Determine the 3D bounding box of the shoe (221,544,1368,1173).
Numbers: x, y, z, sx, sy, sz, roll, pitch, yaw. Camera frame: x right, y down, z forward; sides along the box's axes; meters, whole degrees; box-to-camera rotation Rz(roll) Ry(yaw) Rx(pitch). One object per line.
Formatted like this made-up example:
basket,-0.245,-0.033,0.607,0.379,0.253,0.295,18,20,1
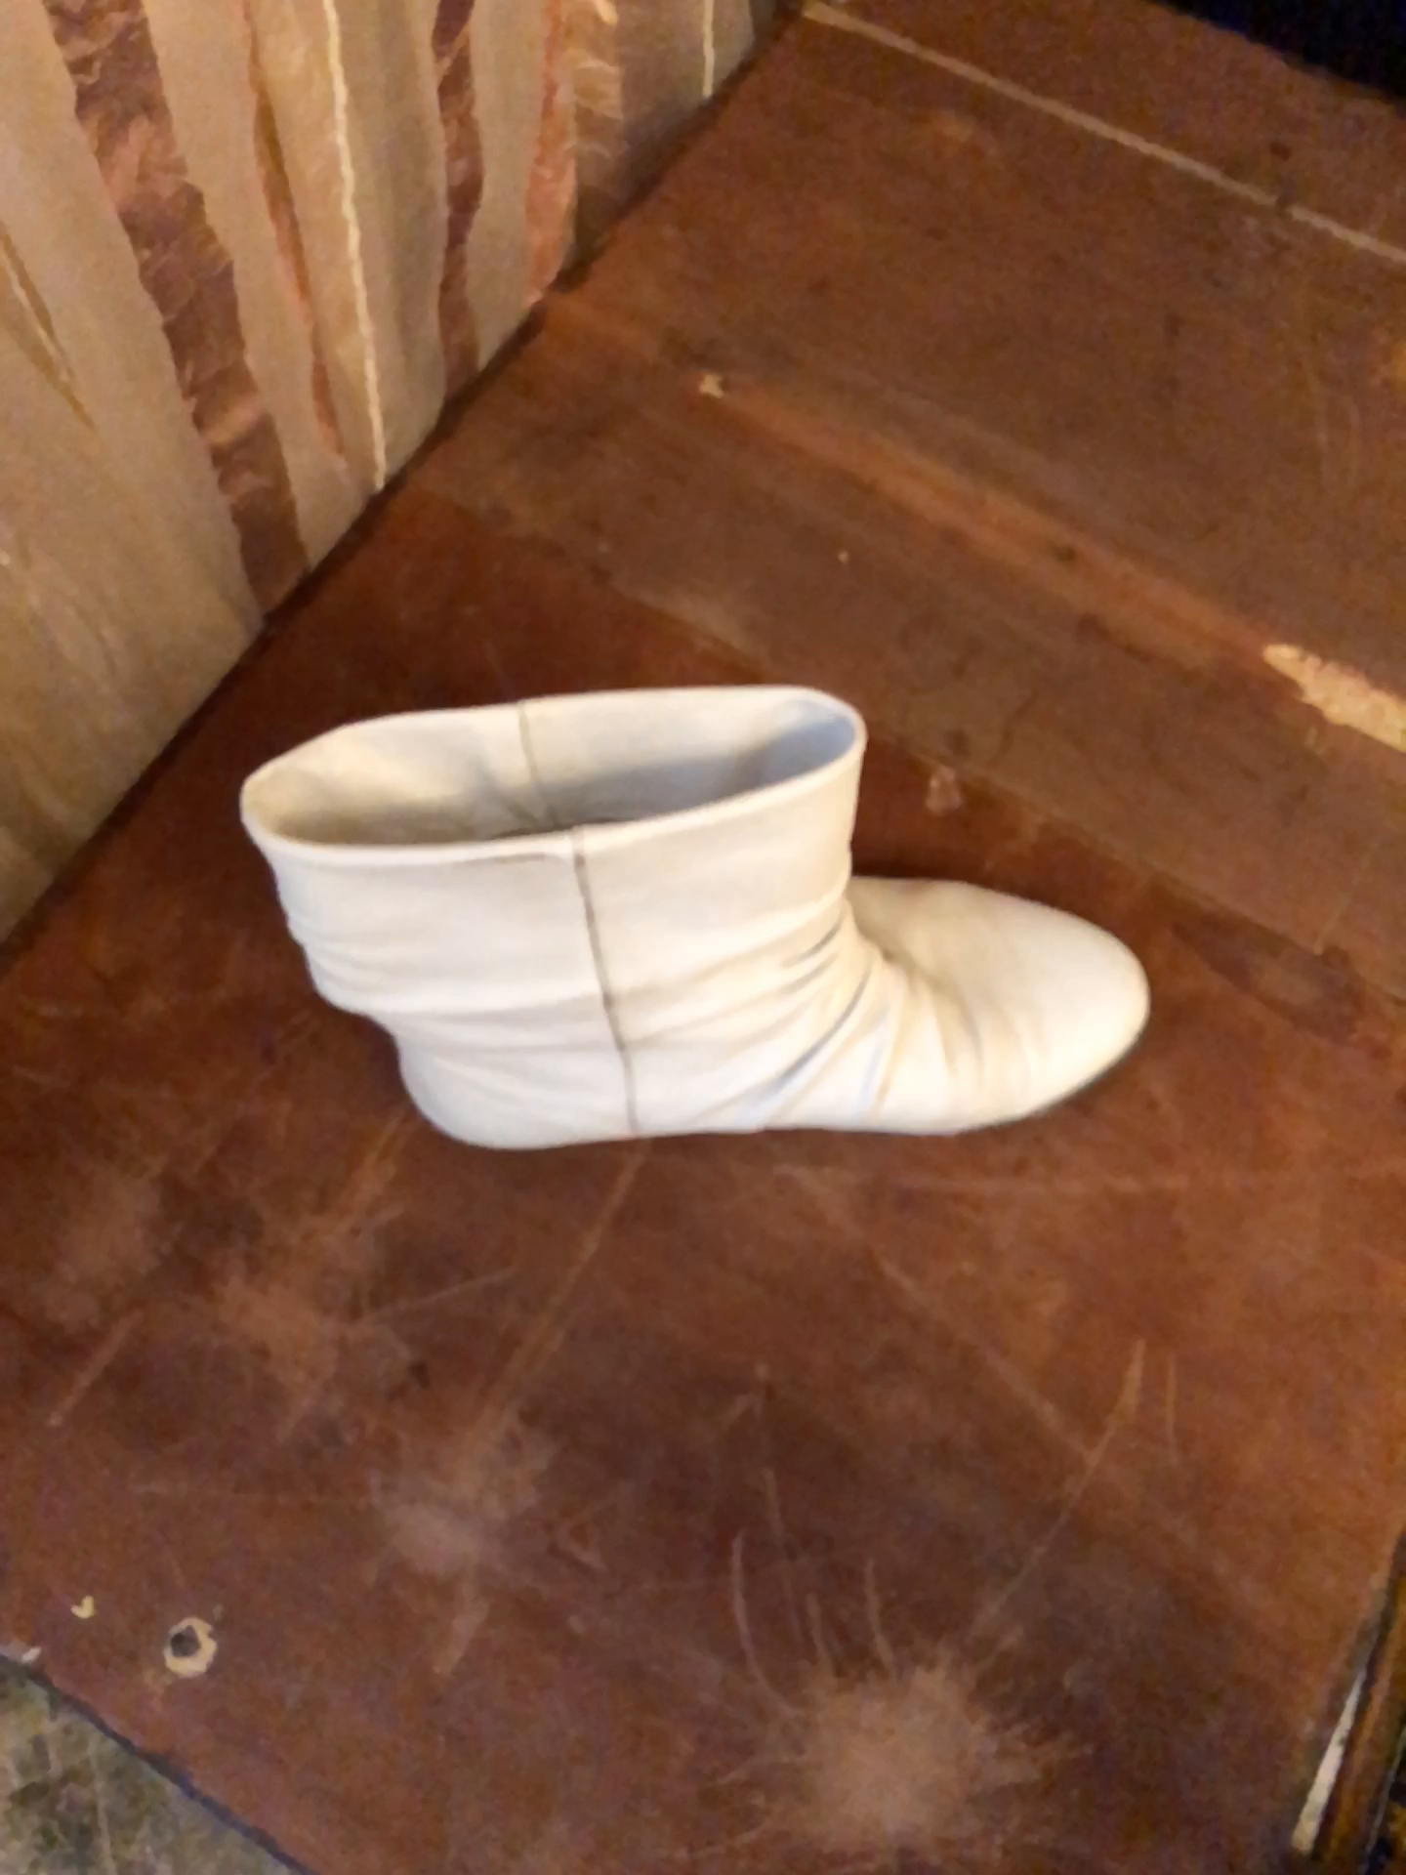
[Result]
shoe,0.017,-0.010,0.426,0.240,0.170,0.100,-2,67,-1
